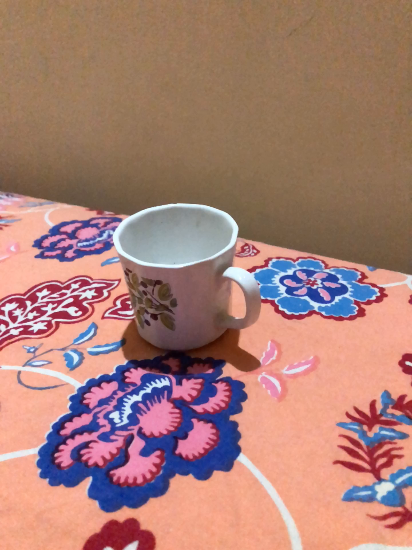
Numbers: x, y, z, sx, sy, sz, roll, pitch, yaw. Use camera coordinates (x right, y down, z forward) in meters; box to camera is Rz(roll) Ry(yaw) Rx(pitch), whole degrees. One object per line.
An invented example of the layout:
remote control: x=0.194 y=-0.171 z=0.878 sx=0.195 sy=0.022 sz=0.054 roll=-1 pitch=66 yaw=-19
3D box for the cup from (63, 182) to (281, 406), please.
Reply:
cup: x=-0.016 y=0.003 z=0.239 sx=0.060 sy=0.070 sz=0.090 roll=-32 pitch=40 yaw=-34
